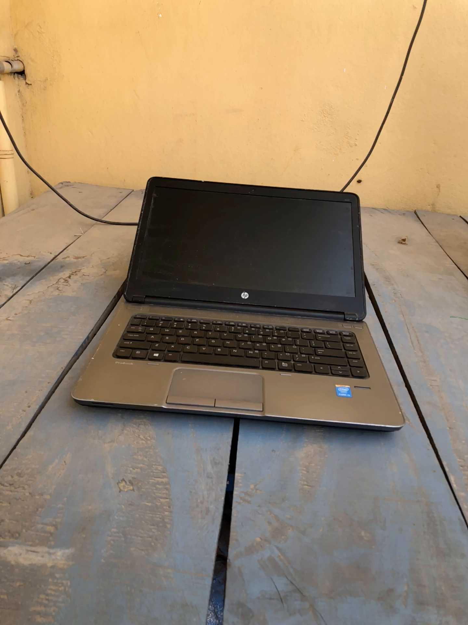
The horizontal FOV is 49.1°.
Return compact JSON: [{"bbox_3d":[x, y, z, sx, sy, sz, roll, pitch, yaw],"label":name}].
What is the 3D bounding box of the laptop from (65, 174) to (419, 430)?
[{"bbox_3d":[0.013,-0.050,0.638,0.306,0.123,0.391,4,29,2],"label":"laptop"}]
